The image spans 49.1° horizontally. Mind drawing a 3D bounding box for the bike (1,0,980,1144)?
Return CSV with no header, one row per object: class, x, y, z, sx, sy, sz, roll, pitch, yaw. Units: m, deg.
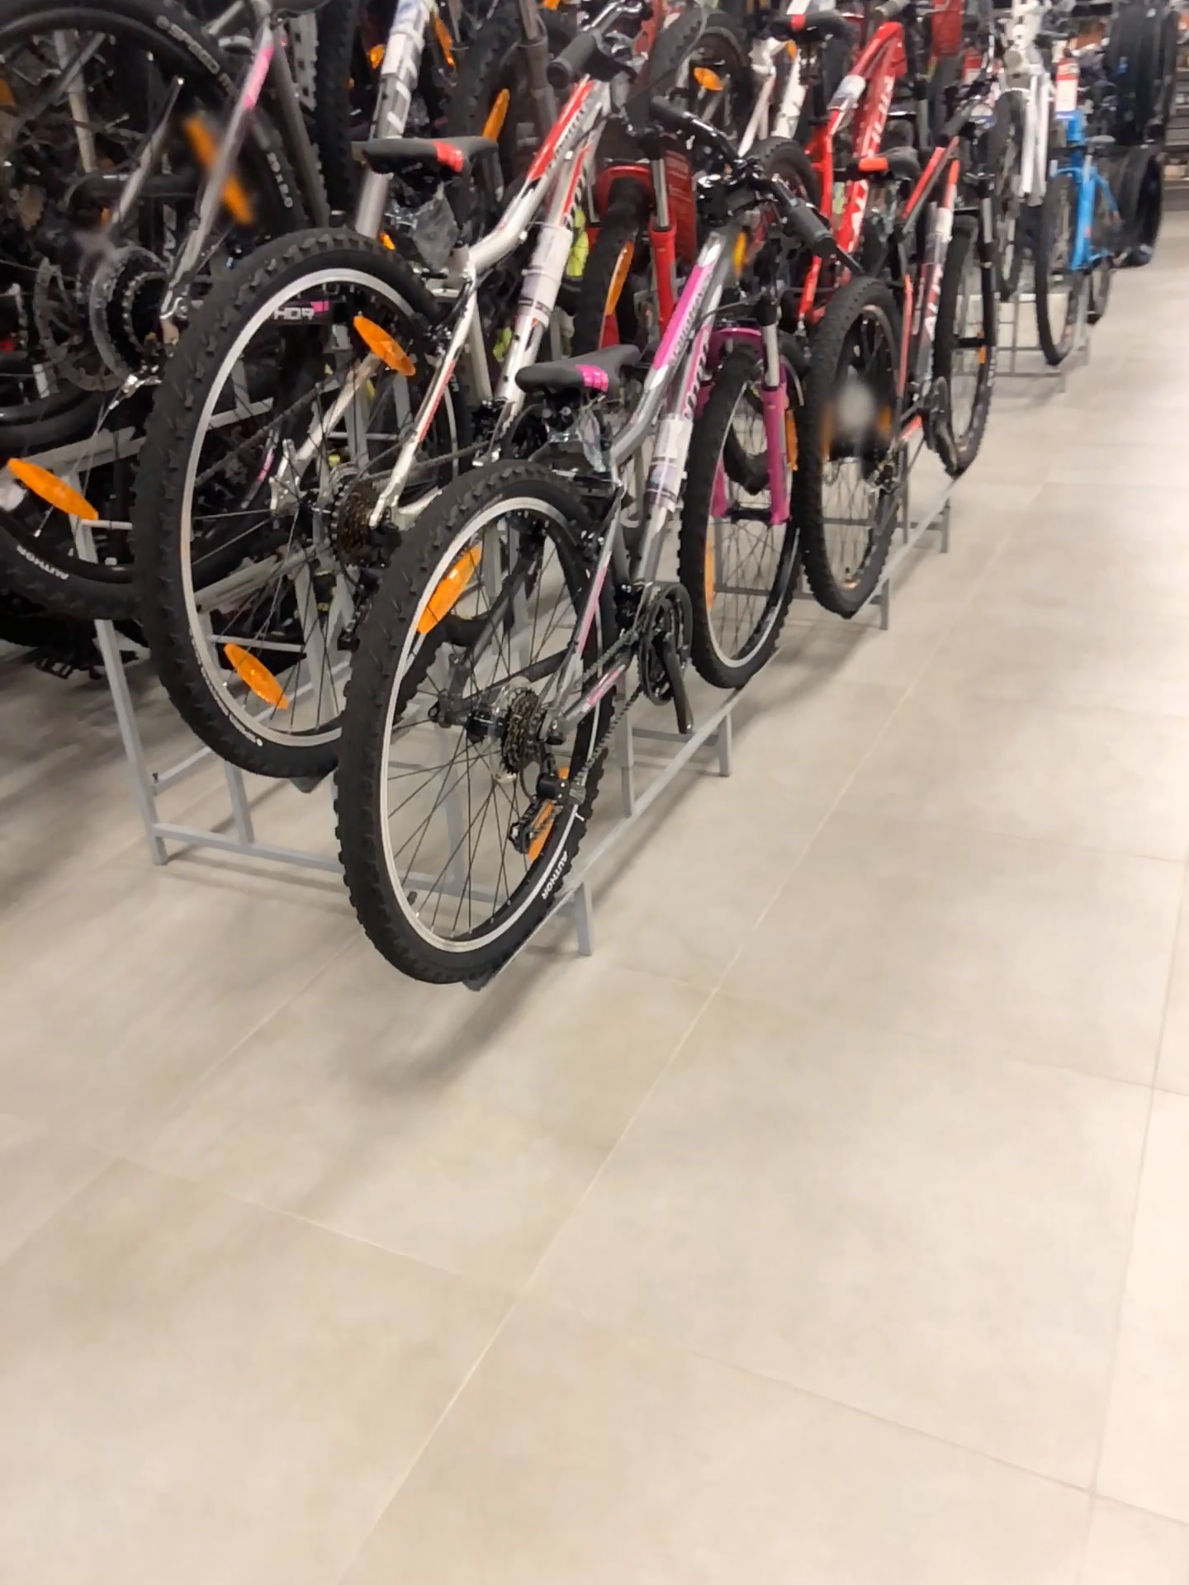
bike,0.074,-0.542,1.887,0.598,0.990,1.614,9,33,24
